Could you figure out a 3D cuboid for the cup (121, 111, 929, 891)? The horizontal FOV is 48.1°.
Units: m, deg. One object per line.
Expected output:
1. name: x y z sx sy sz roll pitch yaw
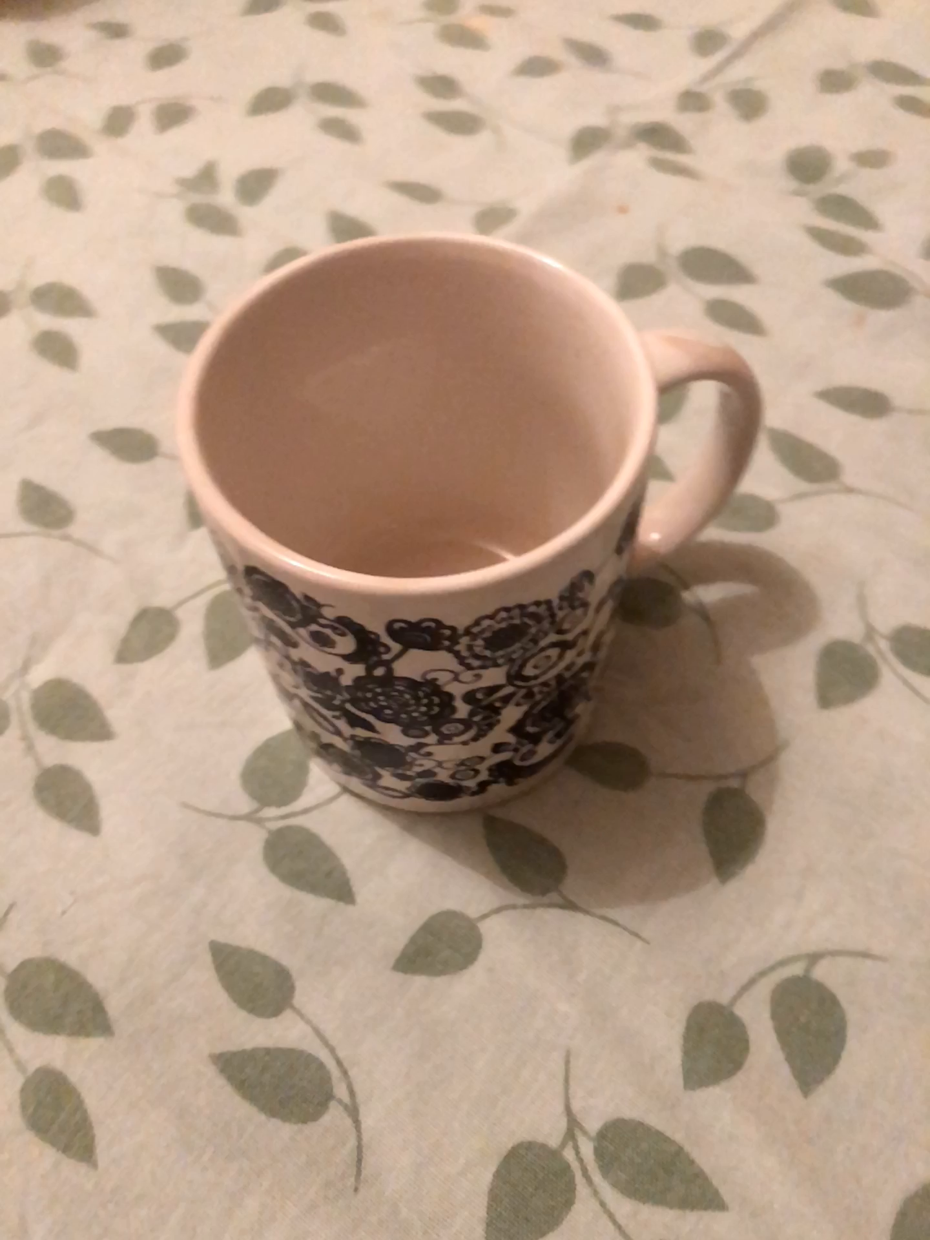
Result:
1. cup: 0.013 -0.020 0.213 0.120 0.099 0.080 -21 60 -12
